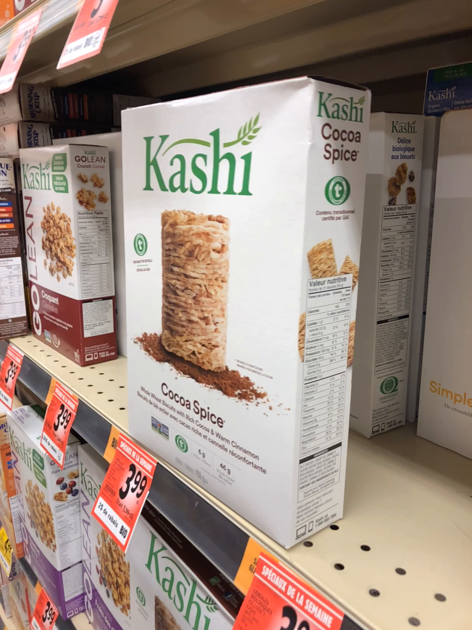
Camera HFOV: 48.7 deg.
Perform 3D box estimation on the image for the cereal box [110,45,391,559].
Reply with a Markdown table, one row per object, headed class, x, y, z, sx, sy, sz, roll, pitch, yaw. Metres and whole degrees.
| class | x | y | z | sx | sy | sz | roll | pitch | yaw |
| --- | --- | --- | --- | --- | --- | --- | --- | --- | --- |
| cereal box | -0.009 | -0.017 | 0.374 | 0.060 | 0.279 | 0.211 | -10 | 17 | -39 |
